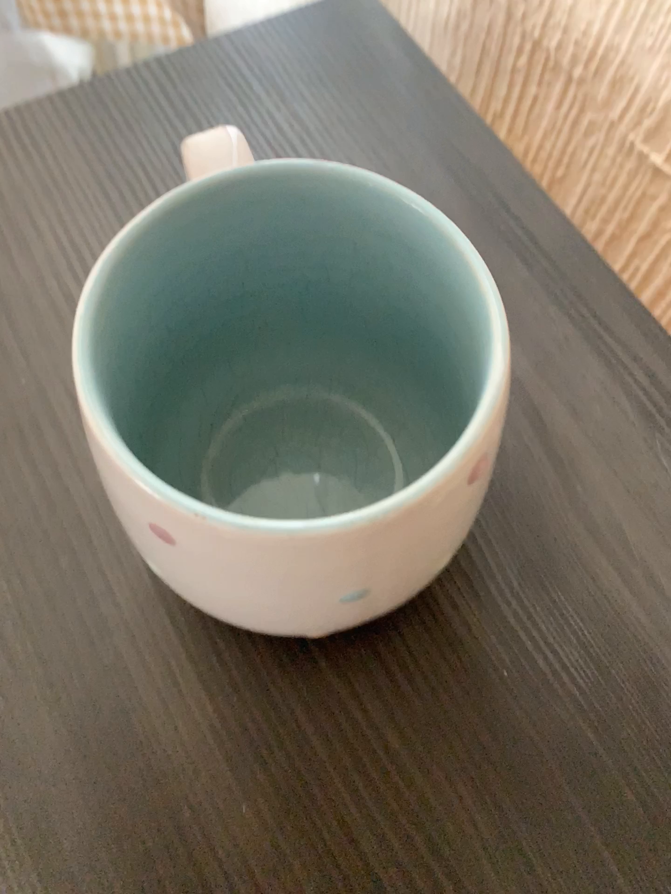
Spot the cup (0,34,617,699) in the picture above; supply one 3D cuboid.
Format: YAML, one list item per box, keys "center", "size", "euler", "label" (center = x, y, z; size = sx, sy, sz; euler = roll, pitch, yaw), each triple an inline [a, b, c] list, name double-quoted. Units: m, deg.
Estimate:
- center: [-0.015, -0.014, 0.189]
  size: [0.100, 0.099, 0.131]
  euler: [-12, 68, -7]
  label: "cup"
